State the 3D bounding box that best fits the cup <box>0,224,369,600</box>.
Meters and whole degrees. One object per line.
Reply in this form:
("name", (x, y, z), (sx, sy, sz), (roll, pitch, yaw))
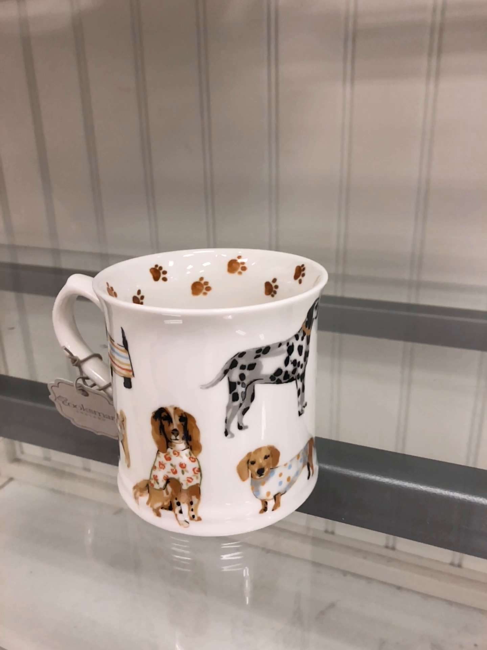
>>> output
("cup", (-0.029, 0.016, 0.224), (0.125, 0.089, 0.100), (12, 24, 31))
